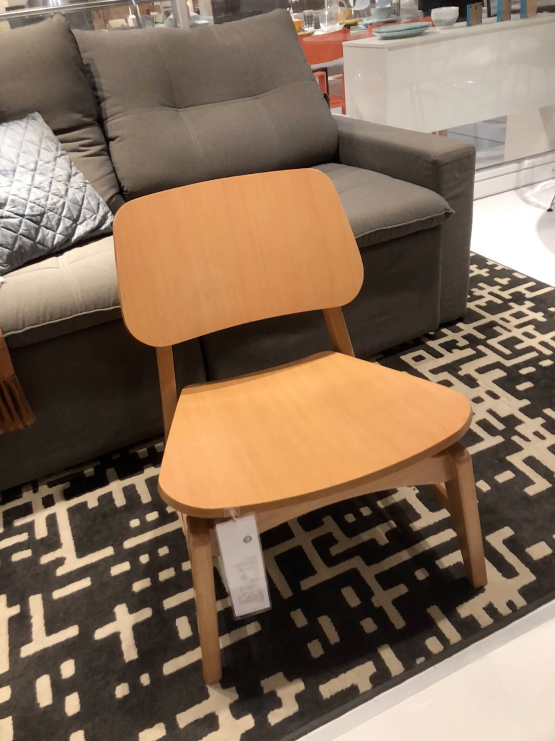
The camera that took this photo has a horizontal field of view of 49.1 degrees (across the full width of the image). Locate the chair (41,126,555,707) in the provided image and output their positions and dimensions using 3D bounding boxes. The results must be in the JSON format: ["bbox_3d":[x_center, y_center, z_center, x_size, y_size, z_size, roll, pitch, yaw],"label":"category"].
[{"bbox_3d":[0.009,-0.006,1.076,0.640,0.625,0.655,-15,32,-13],"label":"chair"}]
